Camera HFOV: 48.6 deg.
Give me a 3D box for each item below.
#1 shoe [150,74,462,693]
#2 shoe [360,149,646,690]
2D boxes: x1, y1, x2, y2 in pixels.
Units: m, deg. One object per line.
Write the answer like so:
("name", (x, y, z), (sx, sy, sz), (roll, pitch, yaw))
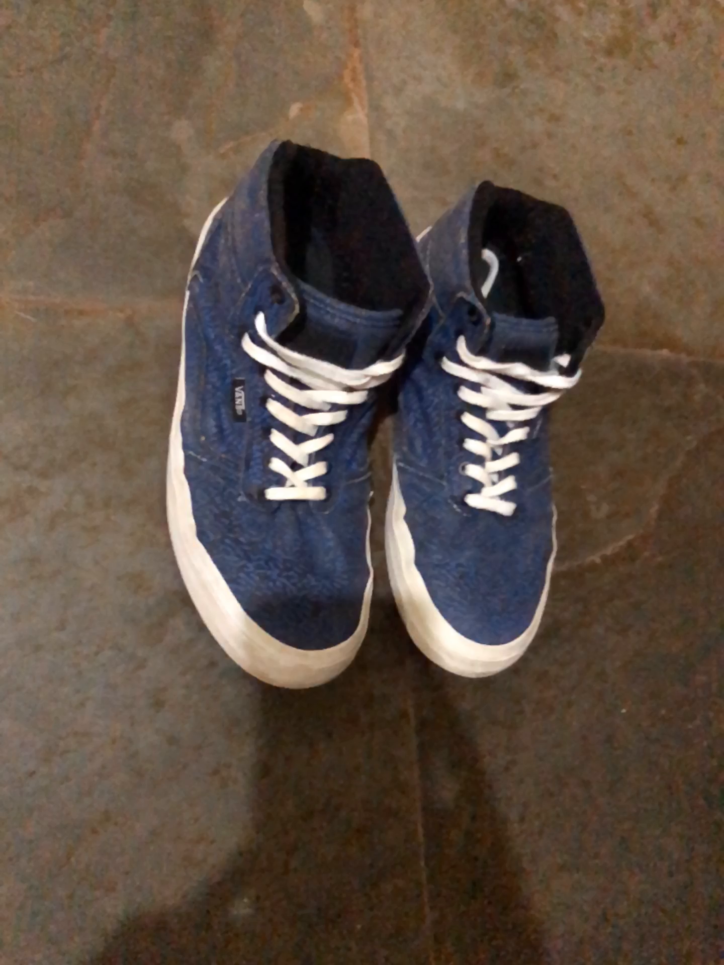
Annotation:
("shoe", (-0.038, -0.040, 0.416), (0.120, 0.110, 0.280), (3, 76, -23))
("shoe", (0.072, -0.027, 0.459), (0.120, 0.090, 0.280), (6, 75, -22))
